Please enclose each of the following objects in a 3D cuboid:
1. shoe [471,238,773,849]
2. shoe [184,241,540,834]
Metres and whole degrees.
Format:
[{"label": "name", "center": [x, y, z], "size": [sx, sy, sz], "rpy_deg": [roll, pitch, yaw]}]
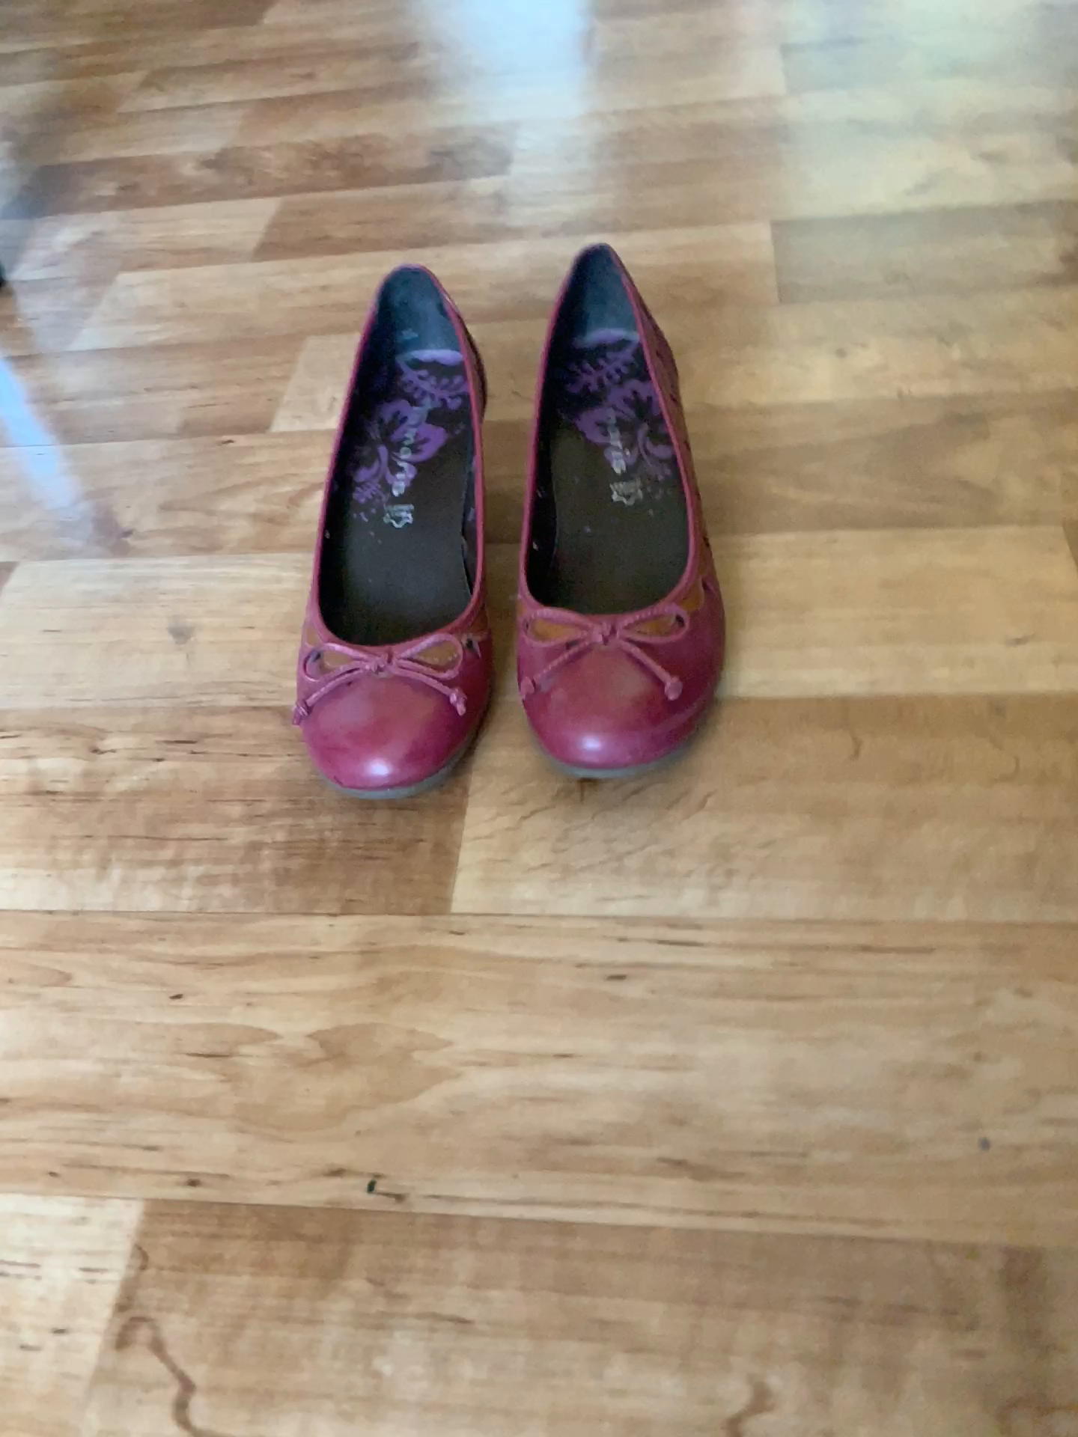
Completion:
[{"label": "shoe", "center": [0.030, -0.081, 0.448], "size": [0.090, 0.110, 0.241], "rpy_deg": [-5, 48, 5]}, {"label": "shoe", "center": [-0.055, -0.084, 0.458], "size": [0.090, 0.110, 0.241], "rpy_deg": [-3, 49, 7]}]
